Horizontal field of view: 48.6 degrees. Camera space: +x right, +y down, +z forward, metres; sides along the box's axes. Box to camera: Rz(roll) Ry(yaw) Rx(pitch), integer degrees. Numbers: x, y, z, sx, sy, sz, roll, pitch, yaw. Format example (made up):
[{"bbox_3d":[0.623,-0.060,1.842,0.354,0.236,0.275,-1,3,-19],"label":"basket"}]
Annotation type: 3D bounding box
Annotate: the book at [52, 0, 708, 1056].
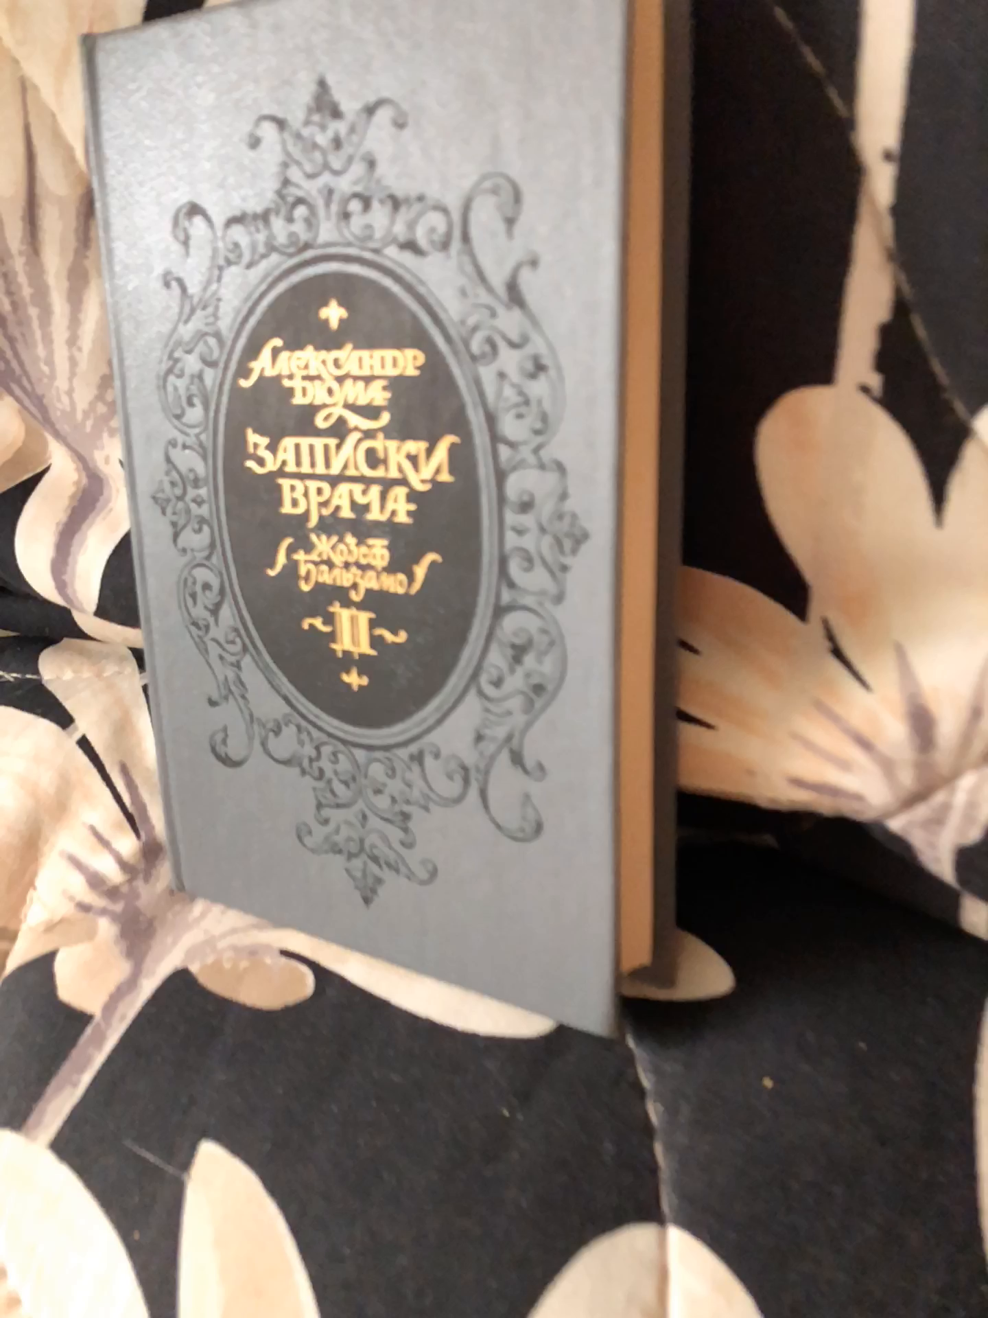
[{"bbox_3d":[-0.028,-0.032,0.242,0.140,0.030,0.206,9,108,32],"label":"book"}]
